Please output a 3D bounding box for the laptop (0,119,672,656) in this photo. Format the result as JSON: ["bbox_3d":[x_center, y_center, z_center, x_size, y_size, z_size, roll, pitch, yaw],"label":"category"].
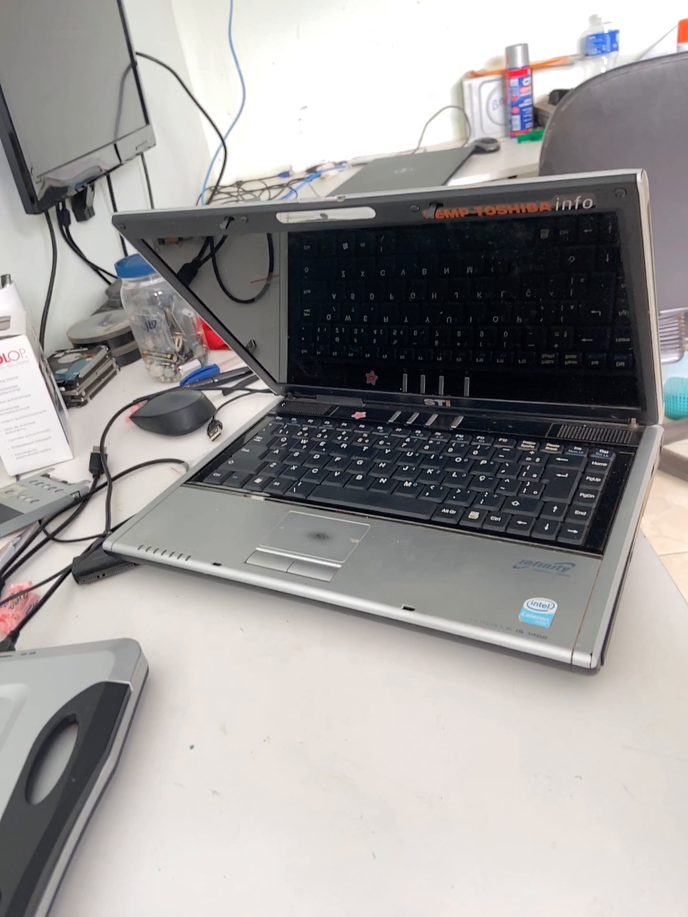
[{"bbox_3d":[0.009,-0.069,0.458,0.338,0.211,0.237,6,33,29],"label":"laptop"}]
